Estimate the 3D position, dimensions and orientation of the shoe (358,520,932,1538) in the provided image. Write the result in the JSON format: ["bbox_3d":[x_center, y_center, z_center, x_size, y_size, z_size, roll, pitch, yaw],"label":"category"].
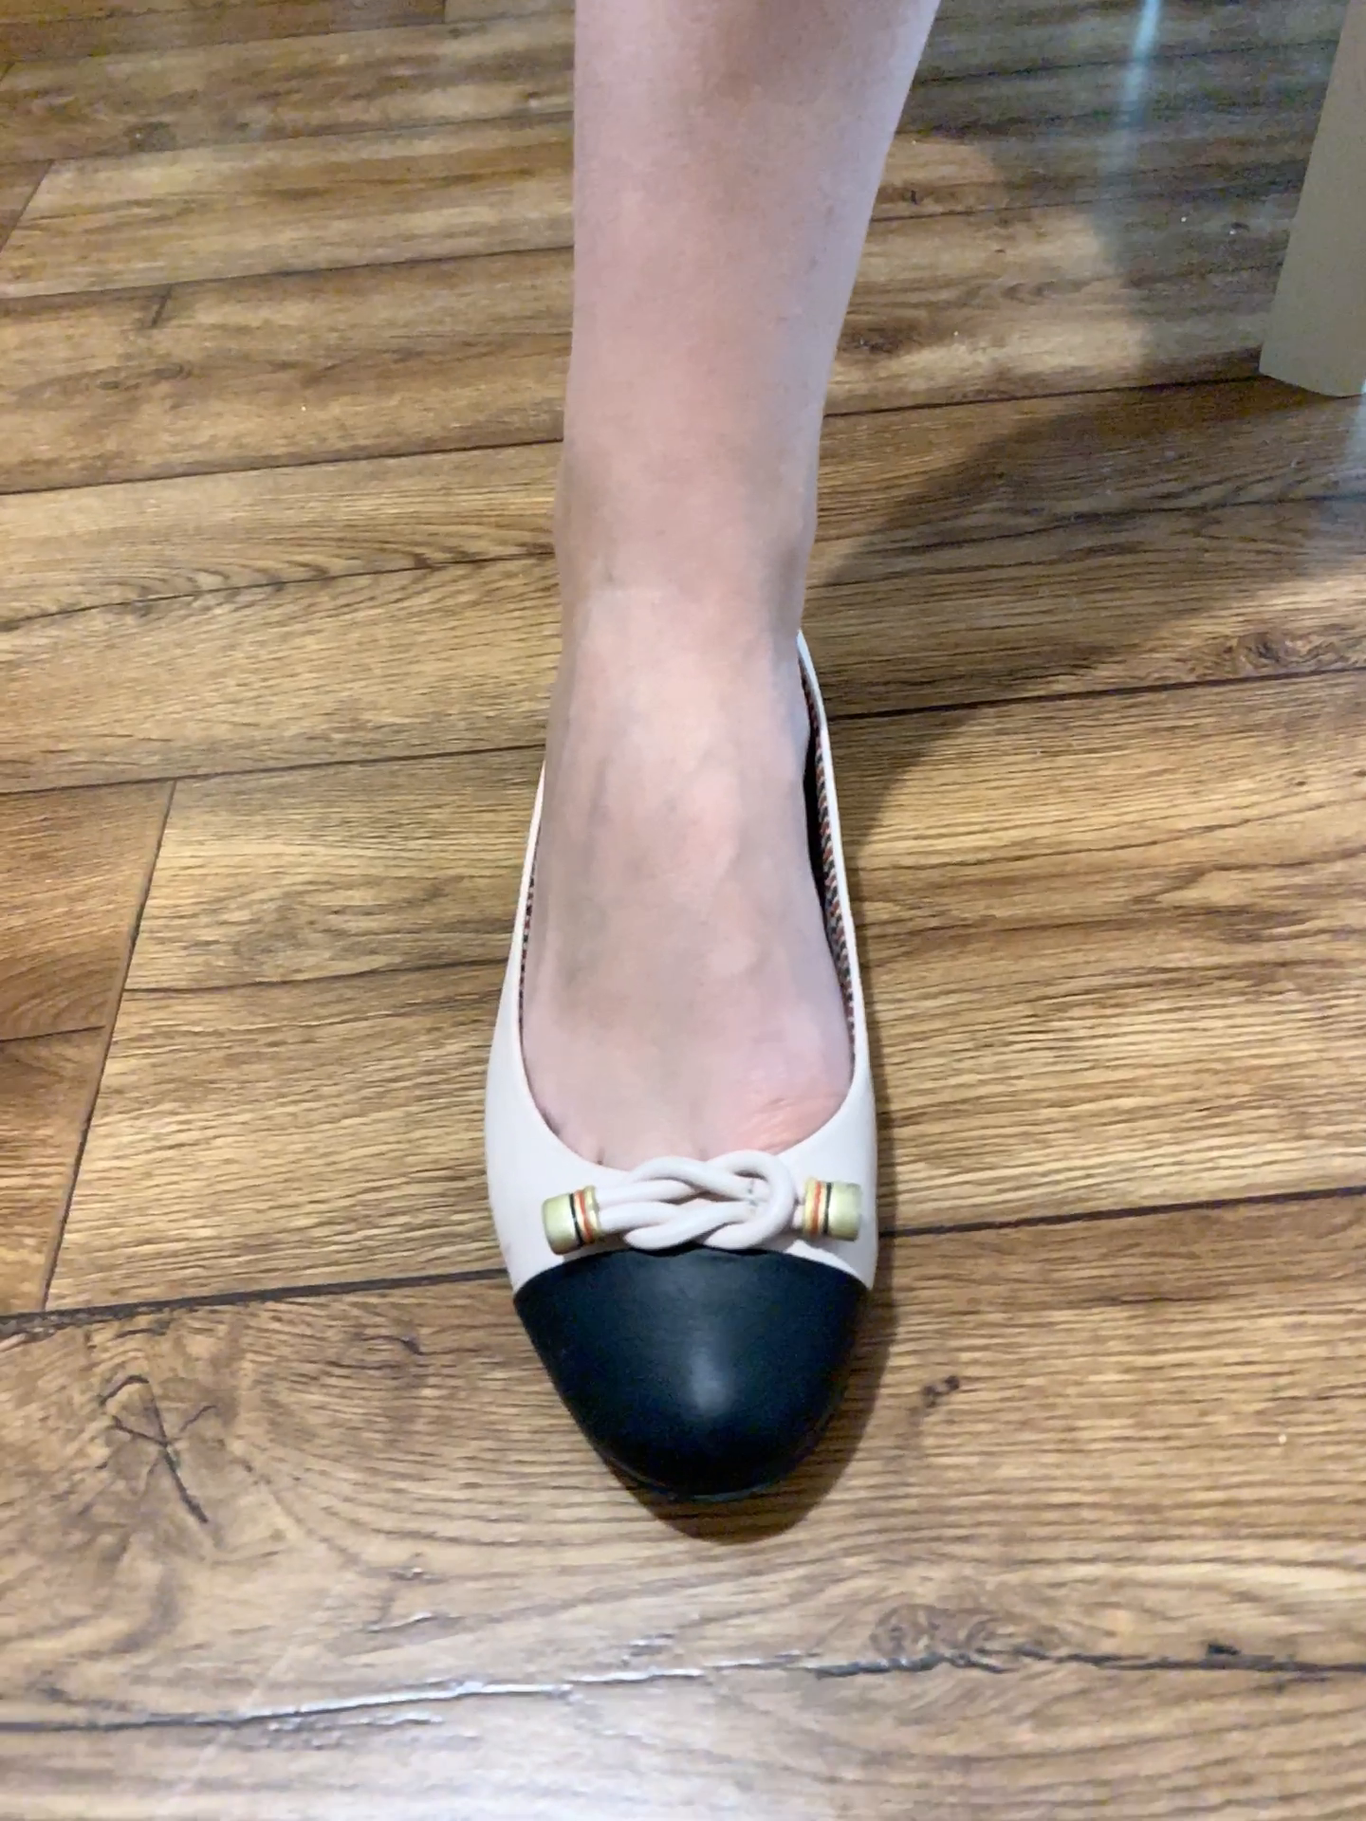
[{"bbox_3d":[-0.006,0.007,0.299,0.083,0.059,0.221,-3,48,2],"label":"shoe"}]
